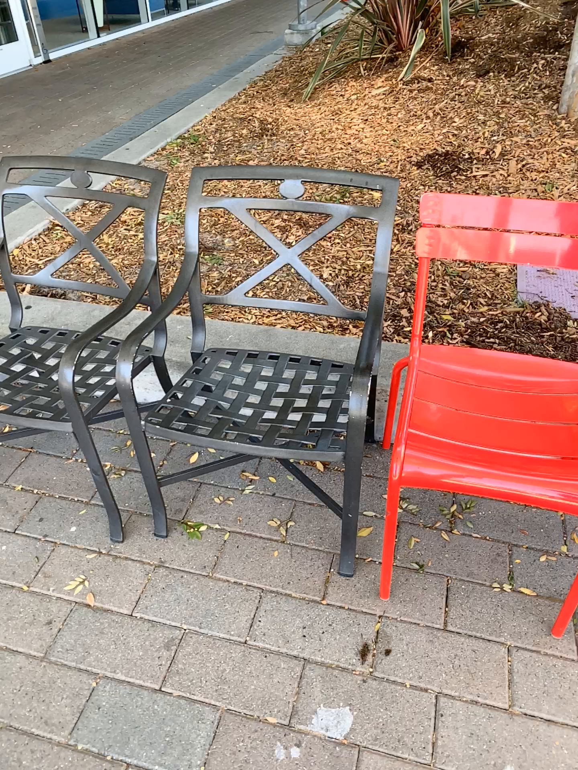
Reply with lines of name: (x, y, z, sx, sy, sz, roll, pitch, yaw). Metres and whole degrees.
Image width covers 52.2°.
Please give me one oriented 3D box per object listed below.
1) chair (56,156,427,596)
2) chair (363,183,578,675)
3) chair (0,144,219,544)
chair: (-0.034, -0.054, 1.542, 0.621, 0.815, 0.693, 9, 39, 13)
chair: (0.555, 0.075, 1.355, 0.621, 0.815, 0.643, 9, 39, 13)
chair: (-0.653, -0.144, 1.684, 0.621, 0.815, 0.693, 9, 39, 13)
